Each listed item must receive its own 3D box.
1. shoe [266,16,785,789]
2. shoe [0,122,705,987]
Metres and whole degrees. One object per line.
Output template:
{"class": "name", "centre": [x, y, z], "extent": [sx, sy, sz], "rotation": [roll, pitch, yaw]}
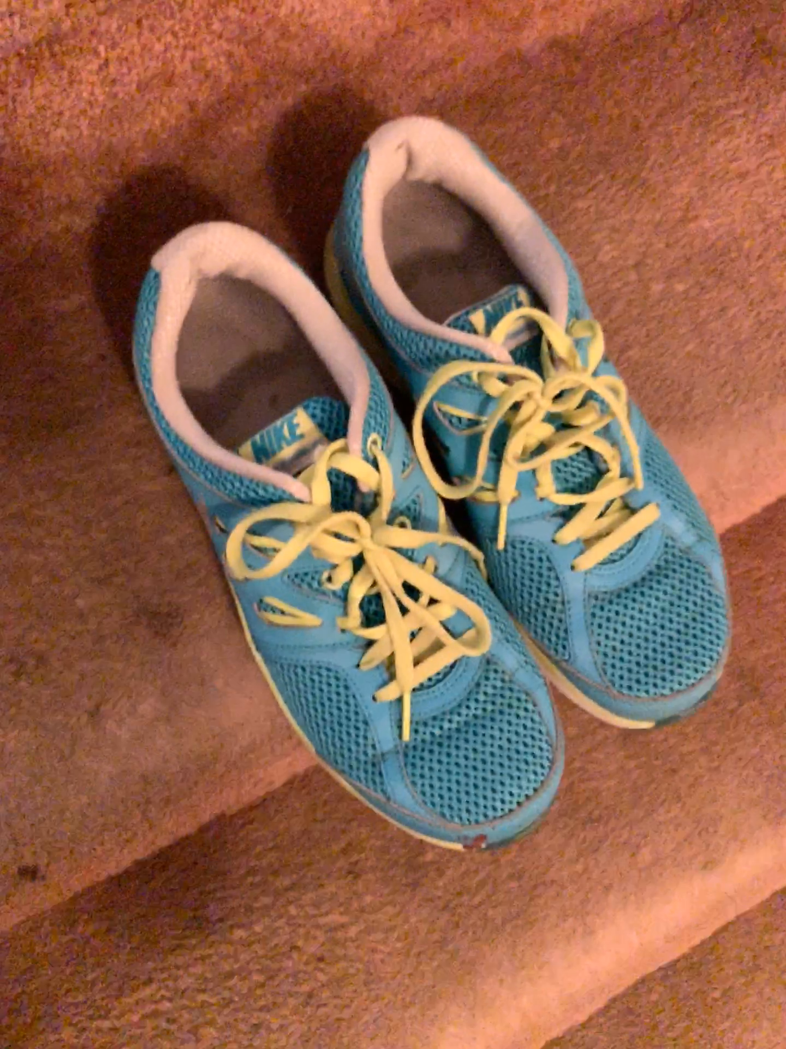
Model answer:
{"class": "shoe", "centre": [0.065, -0.049, 0.339], "extent": [0.110, 0.100, 0.281], "rotation": [-27, 77, -10]}
{"class": "shoe", "centre": [-0.026, 0.002, 0.320], "extent": [0.110, 0.100, 0.280], "rotation": [-30, 78, -11]}
